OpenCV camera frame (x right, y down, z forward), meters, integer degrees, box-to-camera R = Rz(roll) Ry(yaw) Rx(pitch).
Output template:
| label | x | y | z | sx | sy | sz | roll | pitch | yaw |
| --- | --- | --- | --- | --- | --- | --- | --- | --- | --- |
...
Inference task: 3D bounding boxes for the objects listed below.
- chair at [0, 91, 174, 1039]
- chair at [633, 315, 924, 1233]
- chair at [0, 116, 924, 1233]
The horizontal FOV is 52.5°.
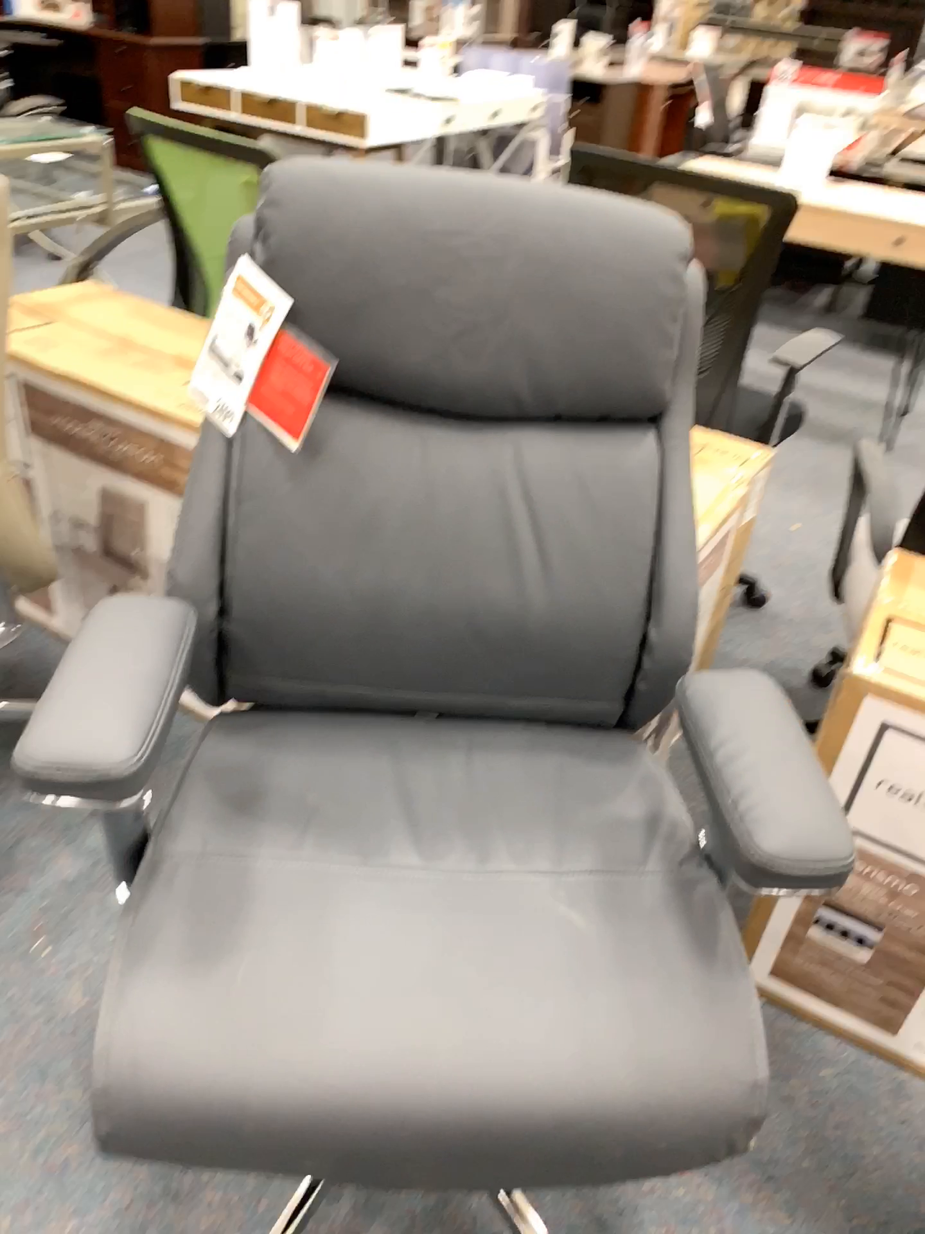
| label | x | y | z | sx | sy | sz | roll | pitch | yaw |
| --- | --- | --- | --- | --- | --- | --- | --- | --- | --- |
| chair | -1.016 | -0.147 | 1.374 | 0.785 | 0.976 | 0.717 | 22 | 37 | 22 |
| chair | 0.758 | 0.515 | 0.586 | 0.786 | 1.095 | 0.766 | -18 | 41 | -31 |
| chair | 0.007 | 0.178 | 0.983 | 0.694 | 1.075 | 0.698 | 4 | 34 | -10 |
